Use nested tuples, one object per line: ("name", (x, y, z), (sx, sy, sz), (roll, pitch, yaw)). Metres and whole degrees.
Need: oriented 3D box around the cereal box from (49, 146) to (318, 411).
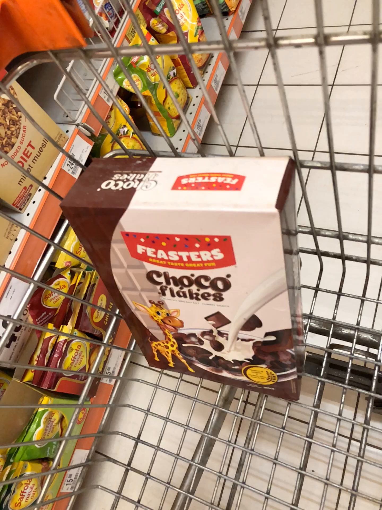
("cereal box", (0.015, 0.030, 0.372), (0.170, 0.239, 0.070), (5, 47, 24))
